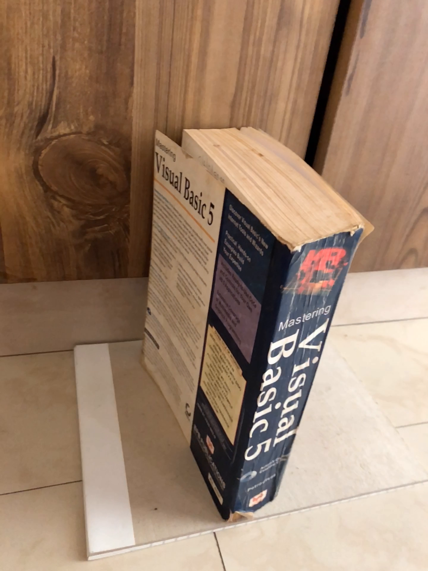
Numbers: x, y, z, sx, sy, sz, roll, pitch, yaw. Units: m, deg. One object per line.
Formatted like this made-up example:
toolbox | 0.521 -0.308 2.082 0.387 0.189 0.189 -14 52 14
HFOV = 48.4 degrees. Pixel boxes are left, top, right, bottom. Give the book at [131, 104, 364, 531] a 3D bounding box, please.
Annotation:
book | -0.005 0.015 0.371 0.060 0.249 0.211 -10 36 -22
